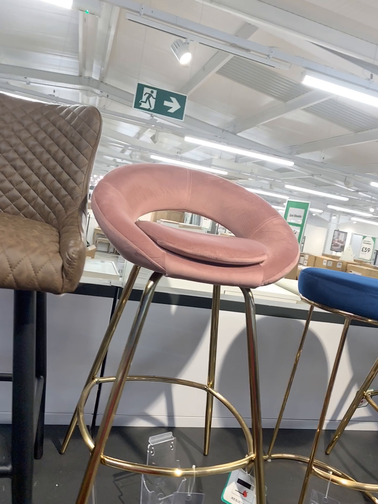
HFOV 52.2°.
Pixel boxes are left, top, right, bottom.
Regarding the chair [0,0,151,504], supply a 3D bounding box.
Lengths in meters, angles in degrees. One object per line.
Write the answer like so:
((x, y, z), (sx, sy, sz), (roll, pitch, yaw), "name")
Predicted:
((-0.451, 0.089, 0.773), (0.502, 0.959, 0.452), (9, 5, -19), "chair")

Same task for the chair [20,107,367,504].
((-0.029, 0.199, 0.923), (0.492, 0.859, 0.462), (9, 5, -13), "chair")

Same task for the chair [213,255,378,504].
((0.398, 0.378, 1.029), (0.462, 0.620, 0.432), (9, 5, -13), "chair")
